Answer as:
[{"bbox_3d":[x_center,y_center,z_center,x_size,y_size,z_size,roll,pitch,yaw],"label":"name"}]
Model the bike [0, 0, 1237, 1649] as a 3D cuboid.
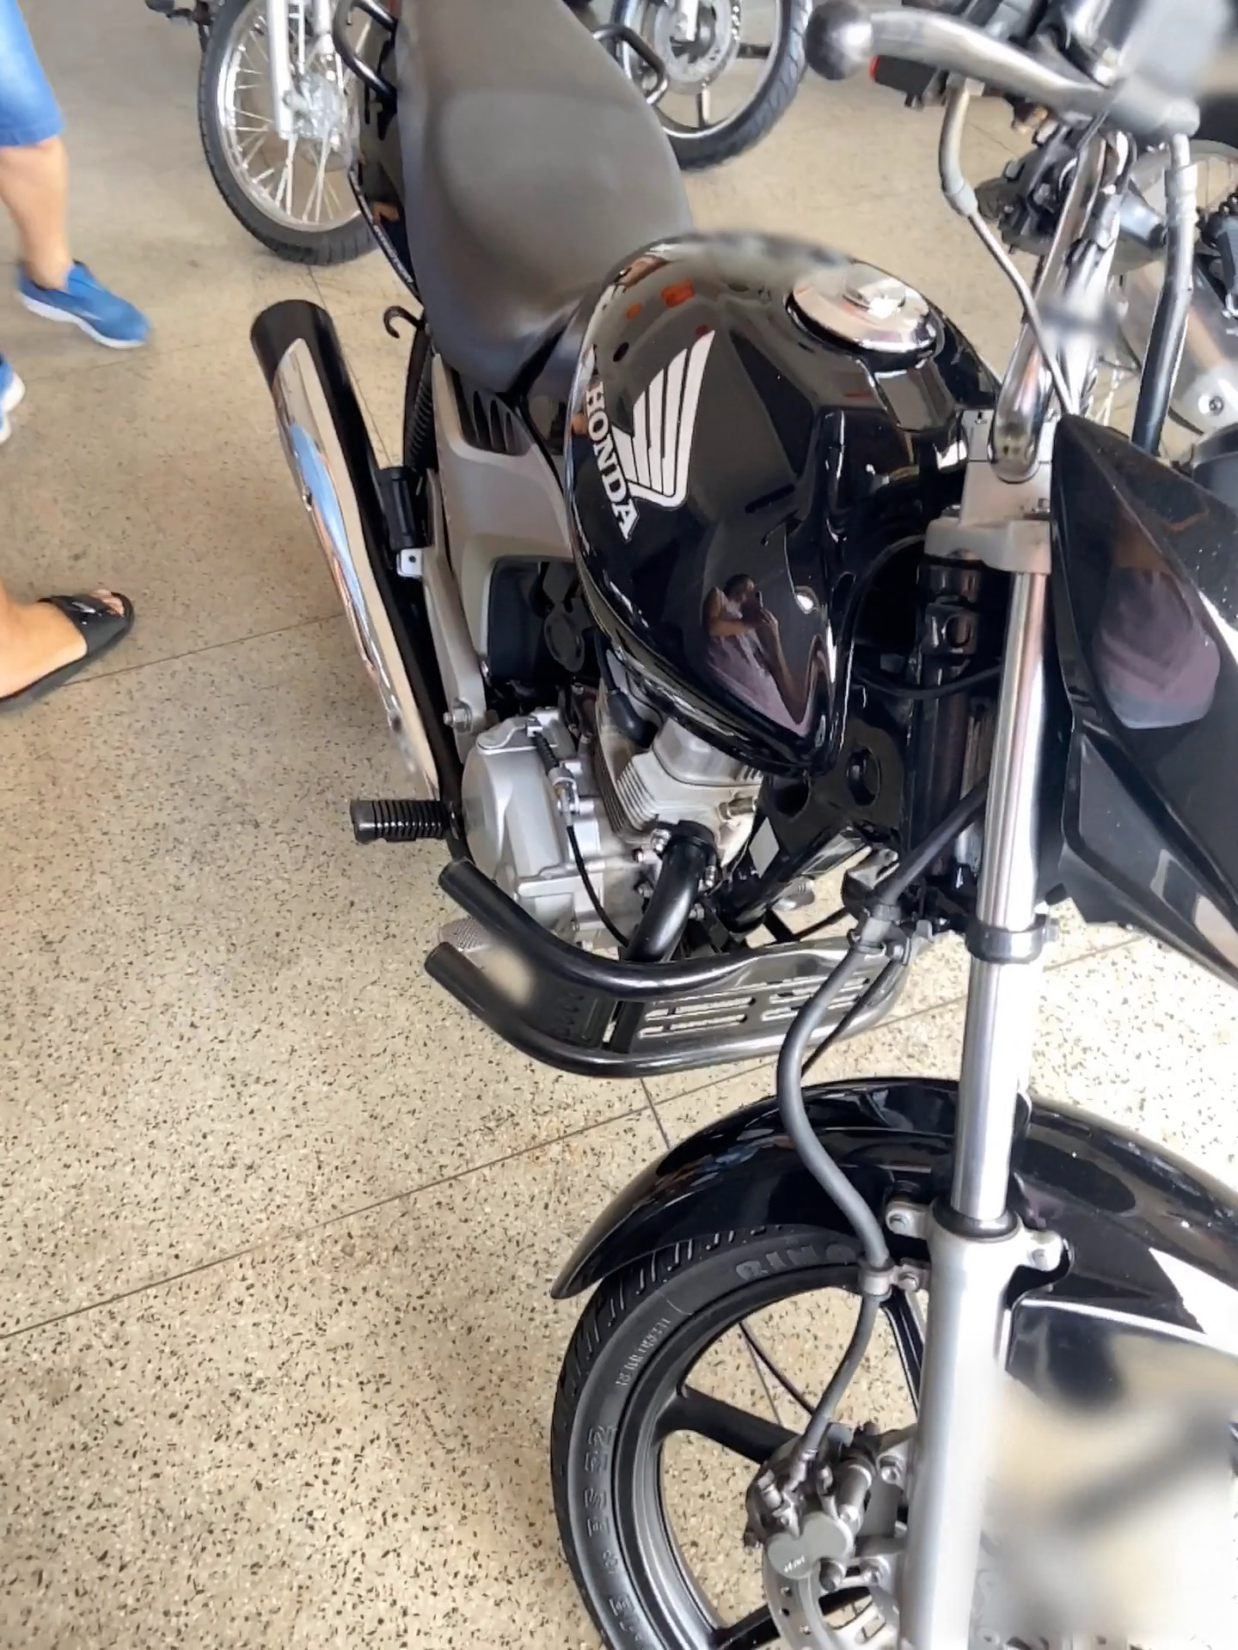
[{"bbox_3d":[0.178,-0.218,1.125,0.774,1.137,1.743,-21,51,-14],"label":"bike"}]
